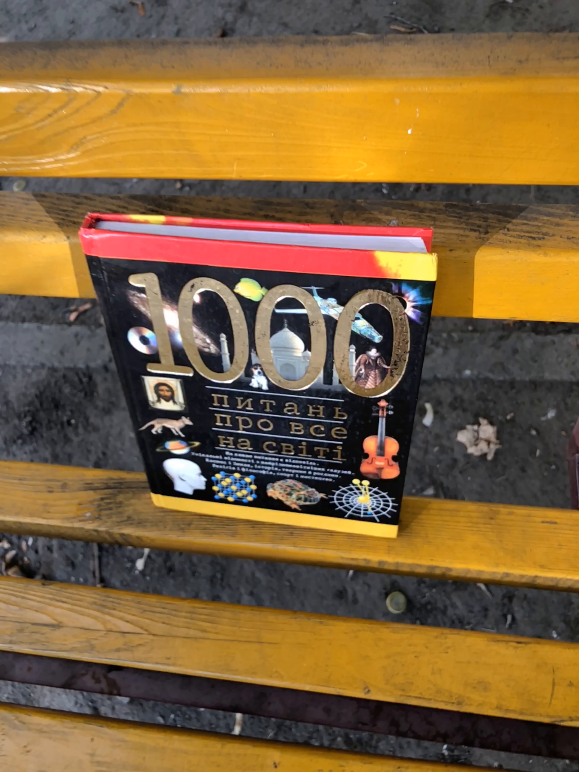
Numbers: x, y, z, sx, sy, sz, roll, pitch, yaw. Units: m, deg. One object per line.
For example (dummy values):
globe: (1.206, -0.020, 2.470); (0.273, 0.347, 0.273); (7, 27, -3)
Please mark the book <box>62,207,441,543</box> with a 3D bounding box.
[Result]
book: (-0.015, 0.005, 0.363); (0.172, 0.201, 0.032); (6, 42, 9)
